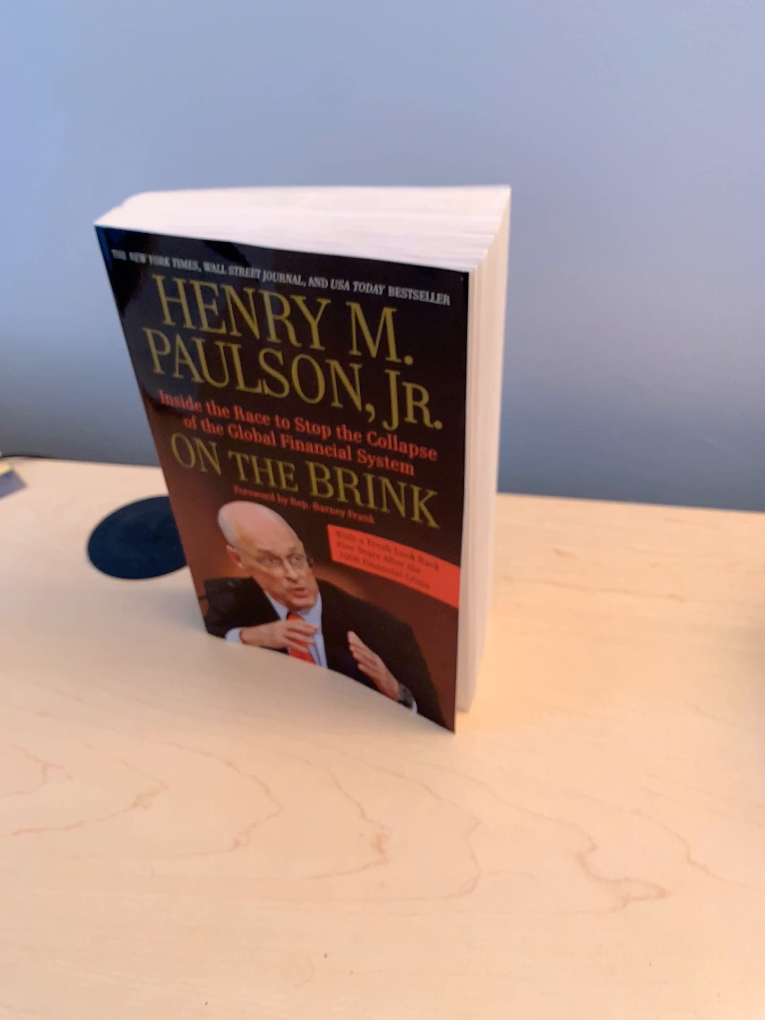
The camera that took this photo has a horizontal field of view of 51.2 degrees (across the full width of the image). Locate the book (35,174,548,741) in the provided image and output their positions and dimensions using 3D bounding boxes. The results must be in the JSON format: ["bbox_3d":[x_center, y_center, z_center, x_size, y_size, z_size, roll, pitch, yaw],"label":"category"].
[{"bbox_3d":[-0.023,-0.018,0.356,0.167,0.228,0.082,7,38,15],"label":"book"}]
